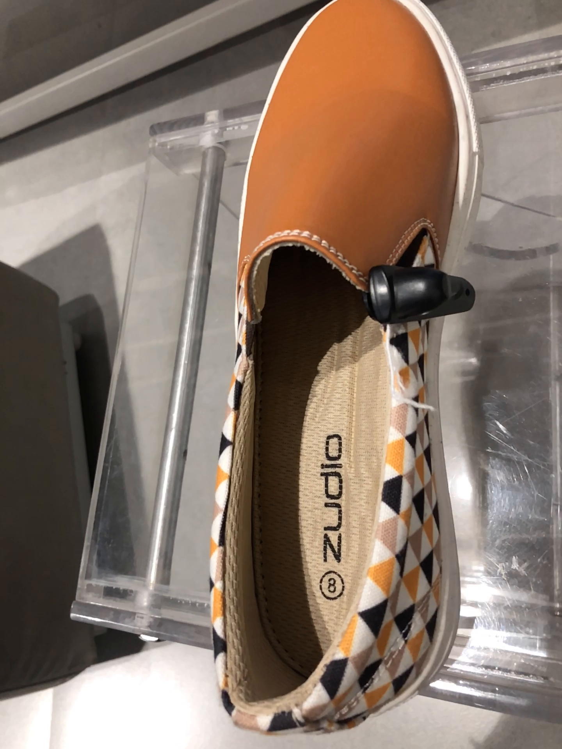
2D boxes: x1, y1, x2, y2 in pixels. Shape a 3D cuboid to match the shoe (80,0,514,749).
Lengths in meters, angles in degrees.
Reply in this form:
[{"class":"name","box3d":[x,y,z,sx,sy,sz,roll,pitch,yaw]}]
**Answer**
[{"class":"shoe","box3d":[0.022,-0.024,0.239,0.110,0.100,0.290,-3,74,25]}]
